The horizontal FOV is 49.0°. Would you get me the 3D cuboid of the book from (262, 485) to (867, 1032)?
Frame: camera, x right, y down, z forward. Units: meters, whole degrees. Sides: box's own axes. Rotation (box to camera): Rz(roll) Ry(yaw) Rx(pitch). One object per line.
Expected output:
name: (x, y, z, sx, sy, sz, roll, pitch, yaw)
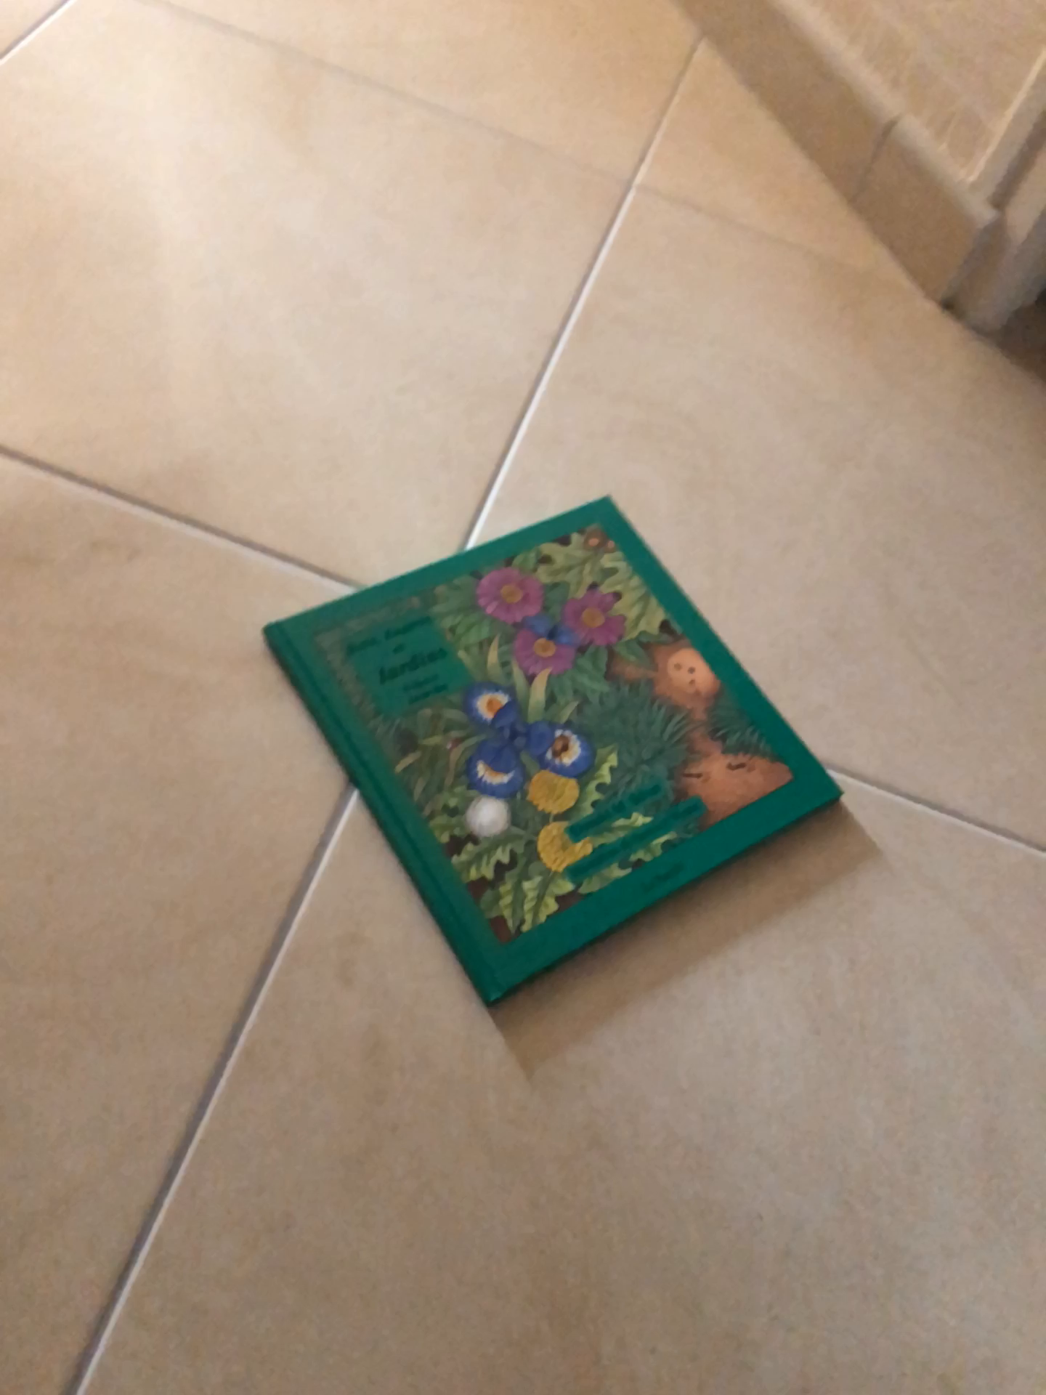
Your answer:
book: (0.022, 0.014, 0.631, 0.241, 0.030, 0.240, -25, 67, -25)
